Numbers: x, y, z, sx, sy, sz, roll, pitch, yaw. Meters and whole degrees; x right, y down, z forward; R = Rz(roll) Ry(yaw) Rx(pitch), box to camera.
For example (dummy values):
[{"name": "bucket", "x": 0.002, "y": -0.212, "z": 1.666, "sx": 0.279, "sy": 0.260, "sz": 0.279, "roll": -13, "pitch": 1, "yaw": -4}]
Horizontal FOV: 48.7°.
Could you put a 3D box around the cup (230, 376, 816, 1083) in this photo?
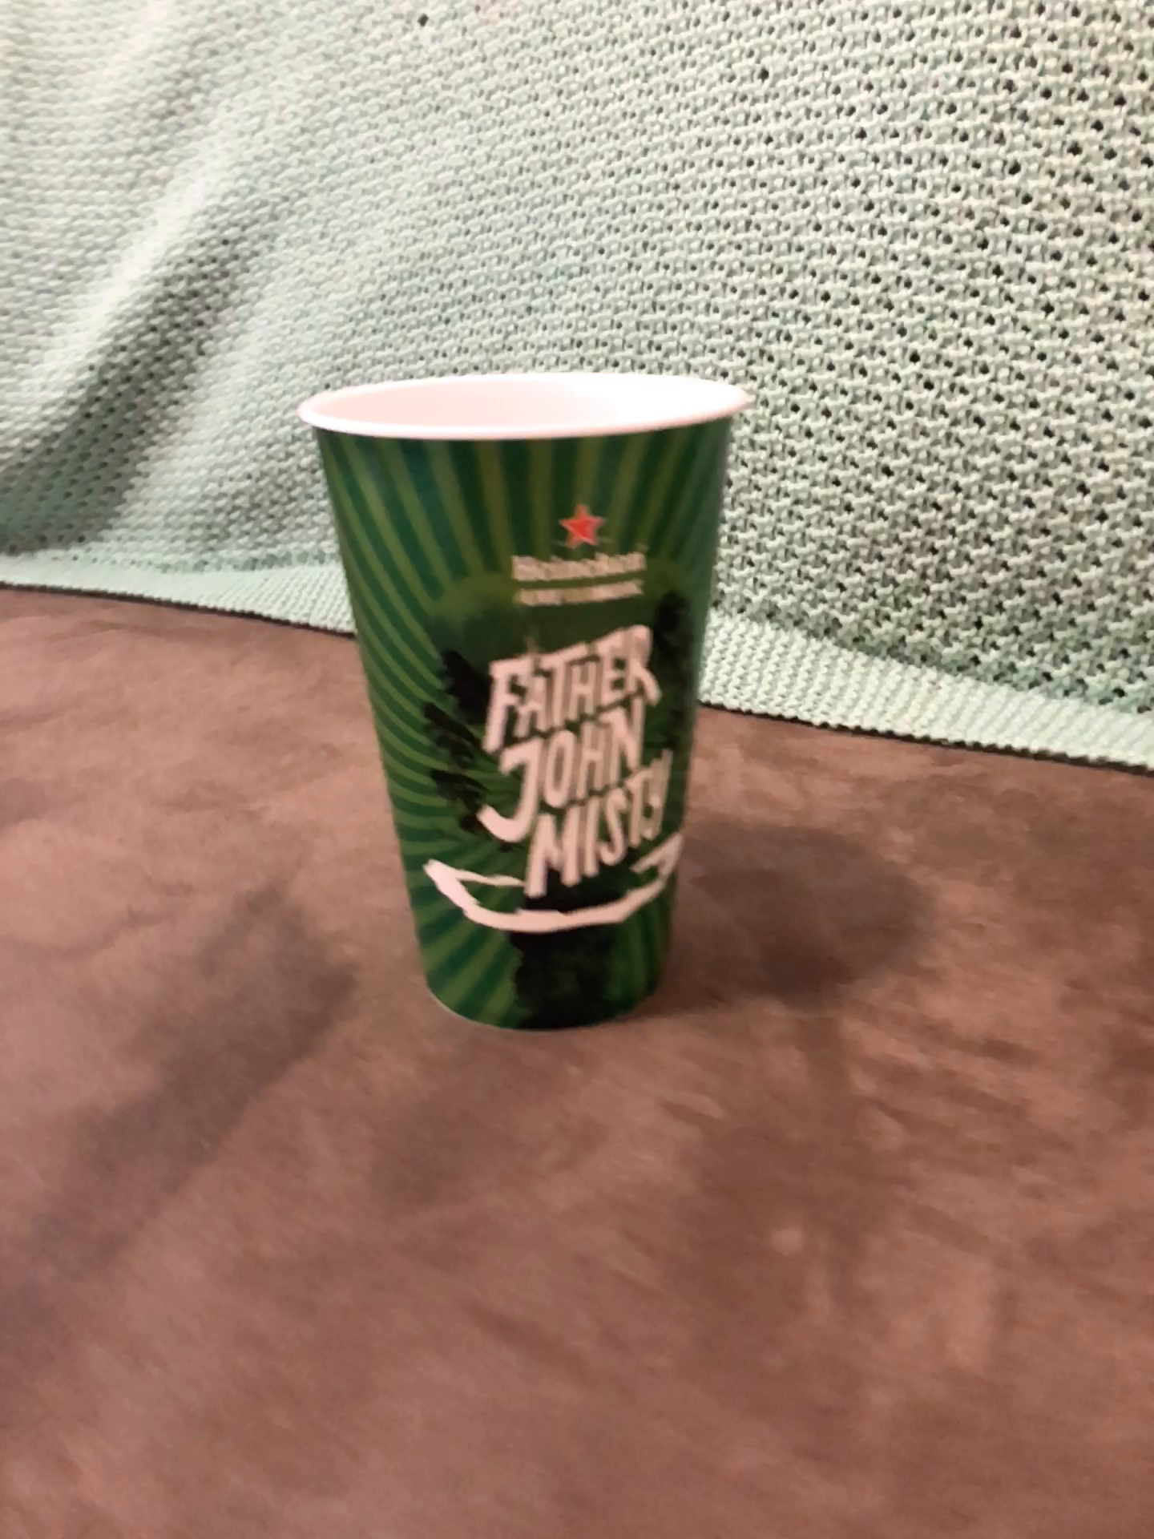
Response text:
[{"name": "cup", "x": -0.011, "y": -0.016, "z": 0.288, "sx": 0.100, "sy": 0.129, "sz": 0.101, "roll": -1, "pitch": 21, "yaw": 0}]
